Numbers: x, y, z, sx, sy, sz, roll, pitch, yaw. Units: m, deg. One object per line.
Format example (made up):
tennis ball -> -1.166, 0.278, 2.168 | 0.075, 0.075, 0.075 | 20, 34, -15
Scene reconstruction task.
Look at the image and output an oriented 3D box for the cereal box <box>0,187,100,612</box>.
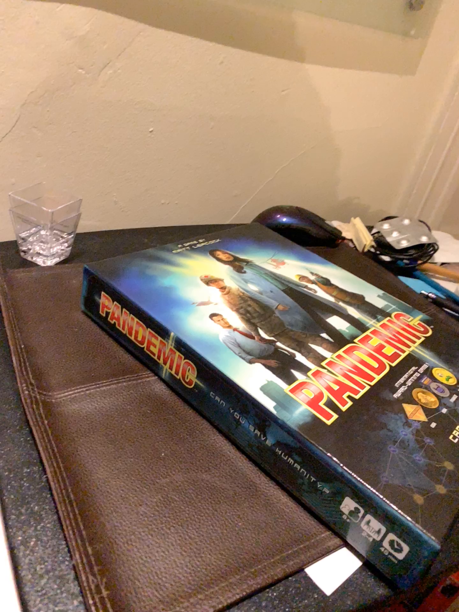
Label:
cereal box -> -0.623, 0.380, 0.916 | 0.510, 0.994, 0.473 | 17, 32, 4
